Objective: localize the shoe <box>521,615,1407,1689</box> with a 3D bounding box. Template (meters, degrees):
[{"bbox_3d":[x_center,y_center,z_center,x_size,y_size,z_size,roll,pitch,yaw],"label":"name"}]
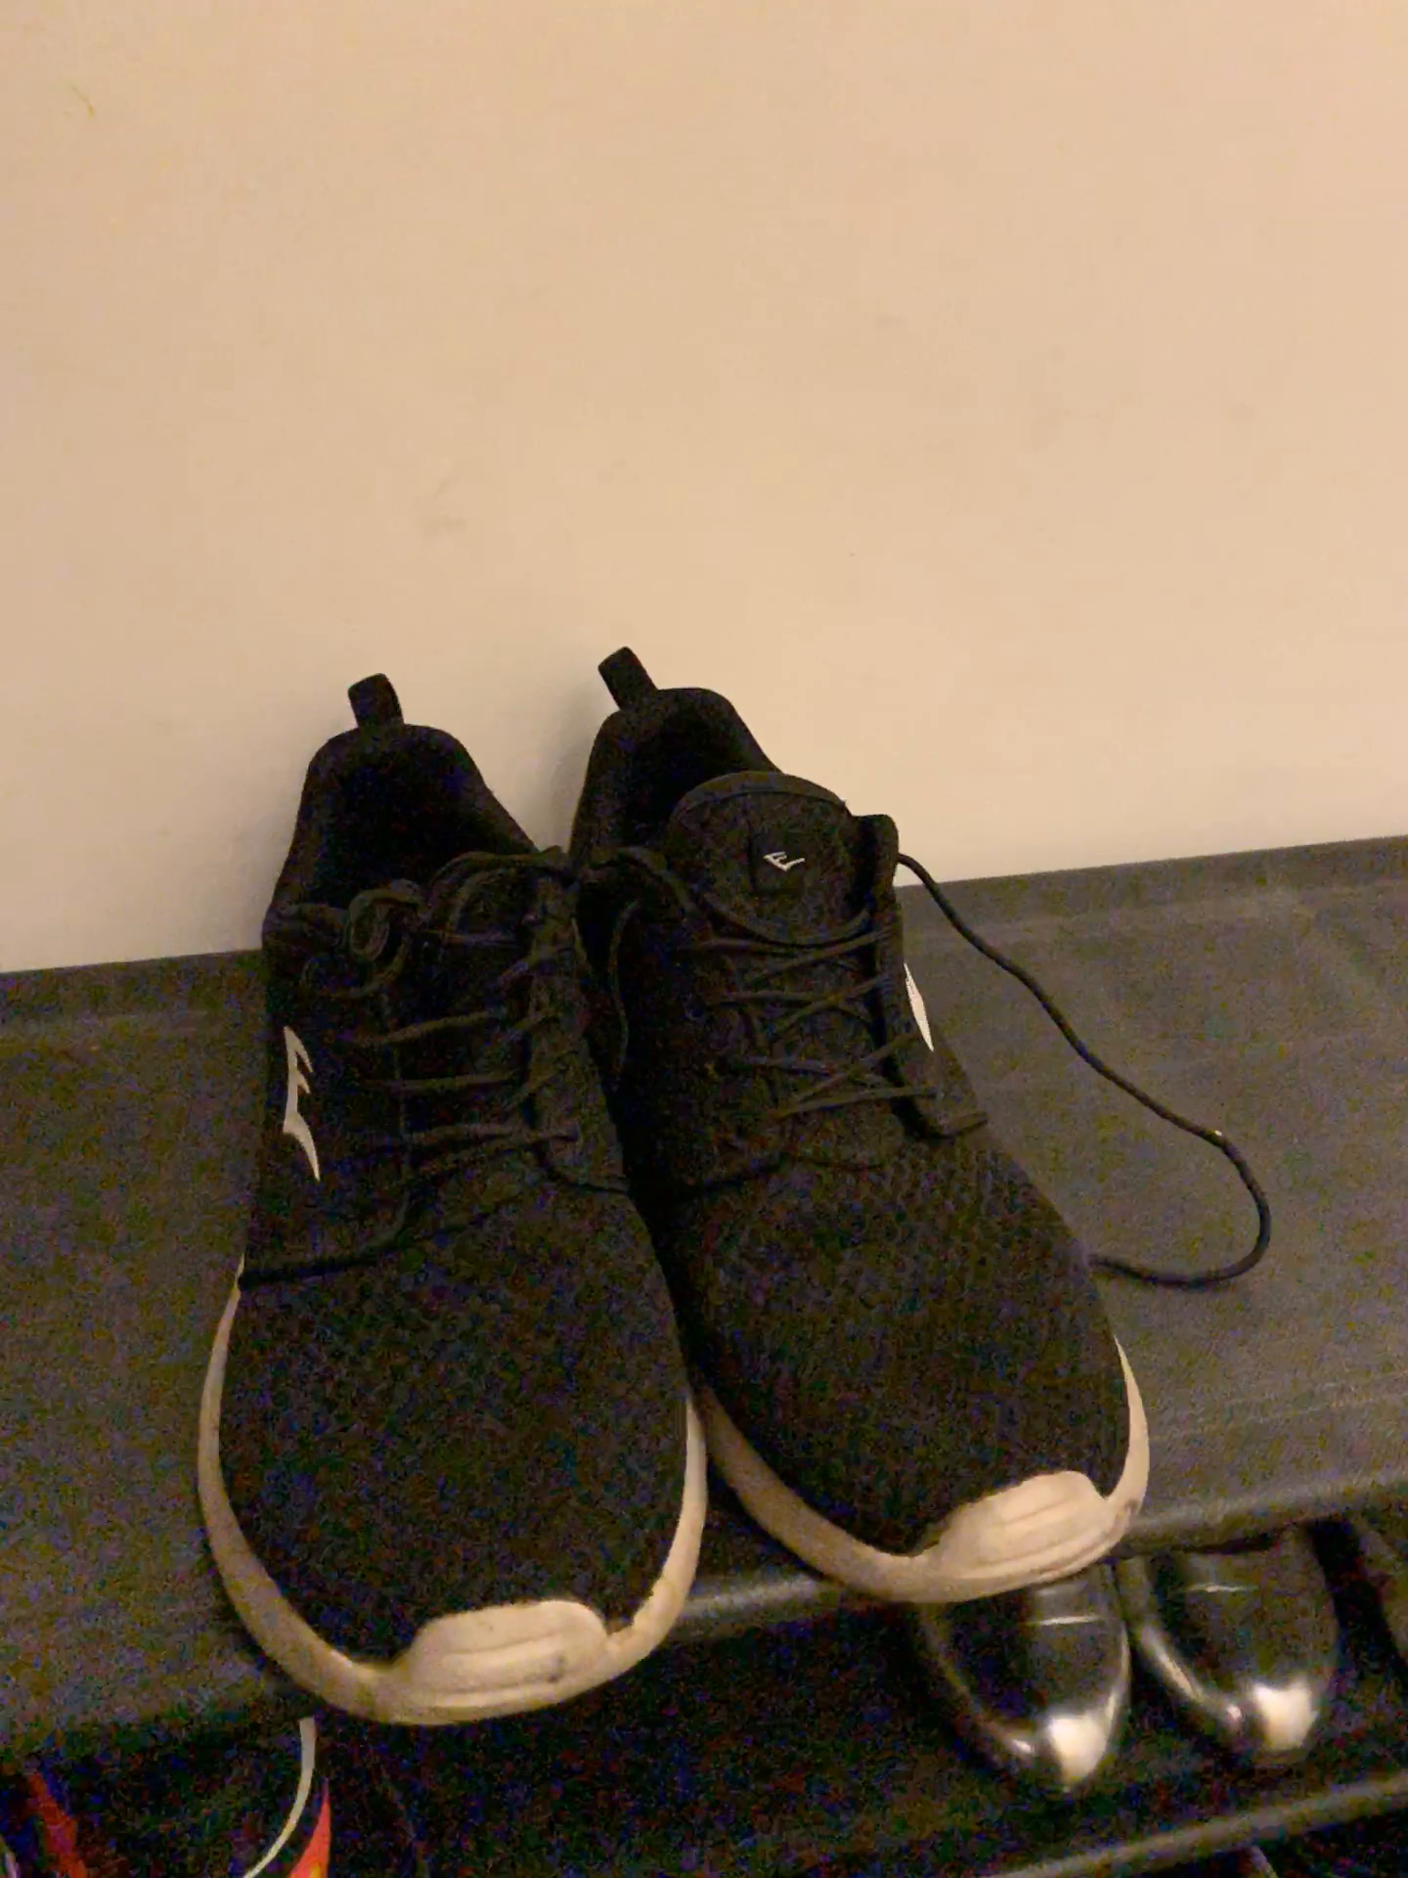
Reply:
[{"bbox_3d":[0.033,0.016,0.391,0.120,0.099,0.303,-6,33,-12],"label":"shoe"}]

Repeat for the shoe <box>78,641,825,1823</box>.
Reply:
[{"bbox_3d":[-0.068,0.030,0.367,0.110,0.099,0.303,-5,33,-11],"label":"shoe"}]
